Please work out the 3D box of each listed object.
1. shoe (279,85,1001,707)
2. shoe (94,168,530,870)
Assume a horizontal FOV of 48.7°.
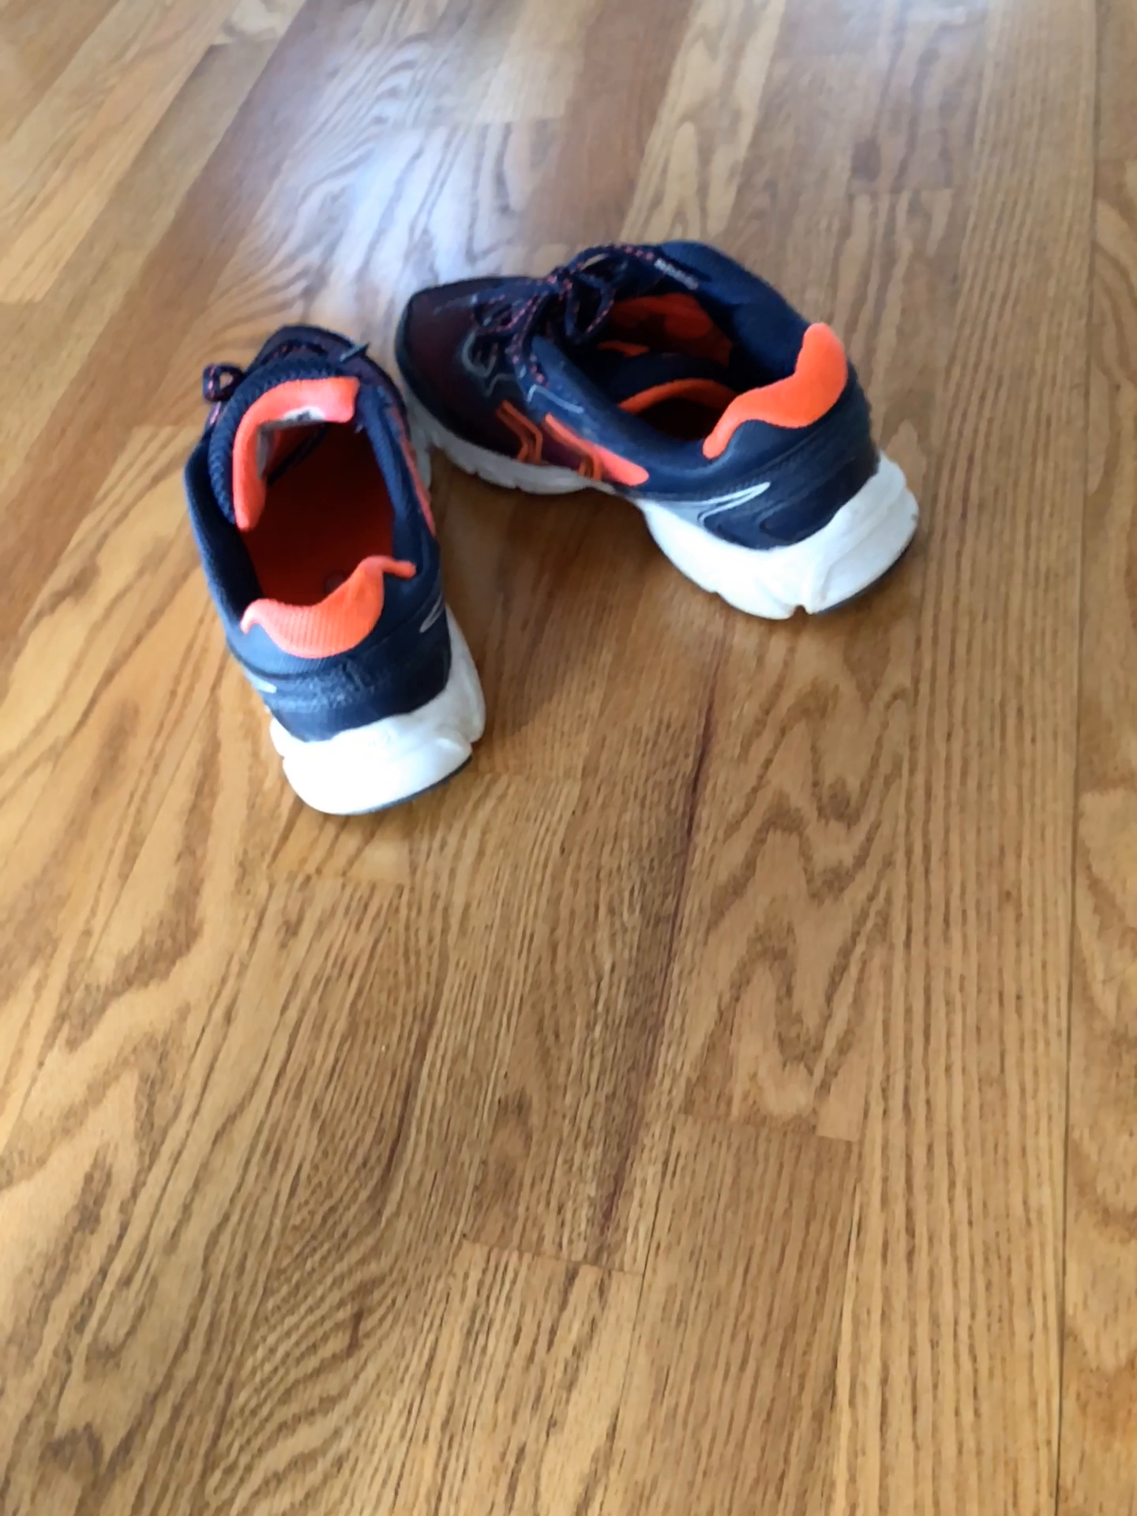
[{"bbox_3d":[0.021,-0.160,0.517,0.116,0.109,0.278,-41,56,-14],"label":"shoe"},{"bbox_3d":[-0.112,-0.108,0.516,0.108,0.109,0.271,-20,53,1],"label":"shoe"}]
